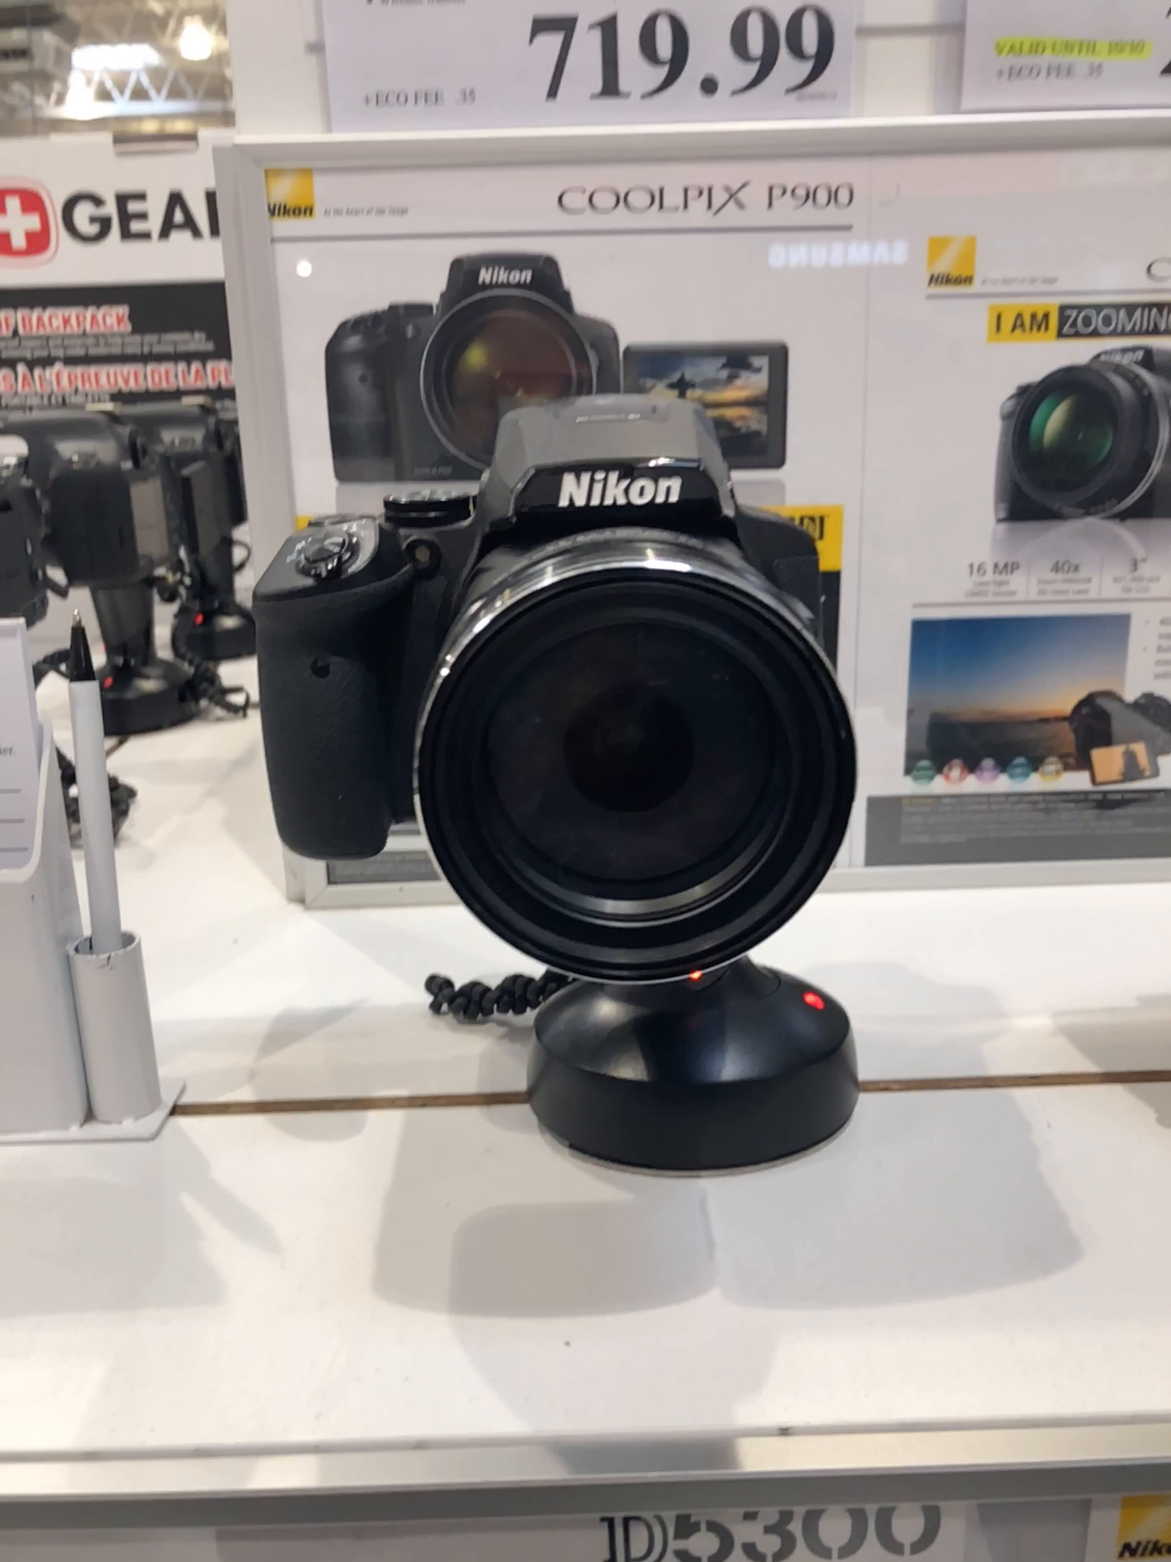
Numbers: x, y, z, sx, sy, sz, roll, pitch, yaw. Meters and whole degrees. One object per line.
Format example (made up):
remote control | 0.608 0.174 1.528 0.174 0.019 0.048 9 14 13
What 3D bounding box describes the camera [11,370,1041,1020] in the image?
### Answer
camera | -0.007 -0.031 0.270 0.150 0.100 0.141 -2 17 1
